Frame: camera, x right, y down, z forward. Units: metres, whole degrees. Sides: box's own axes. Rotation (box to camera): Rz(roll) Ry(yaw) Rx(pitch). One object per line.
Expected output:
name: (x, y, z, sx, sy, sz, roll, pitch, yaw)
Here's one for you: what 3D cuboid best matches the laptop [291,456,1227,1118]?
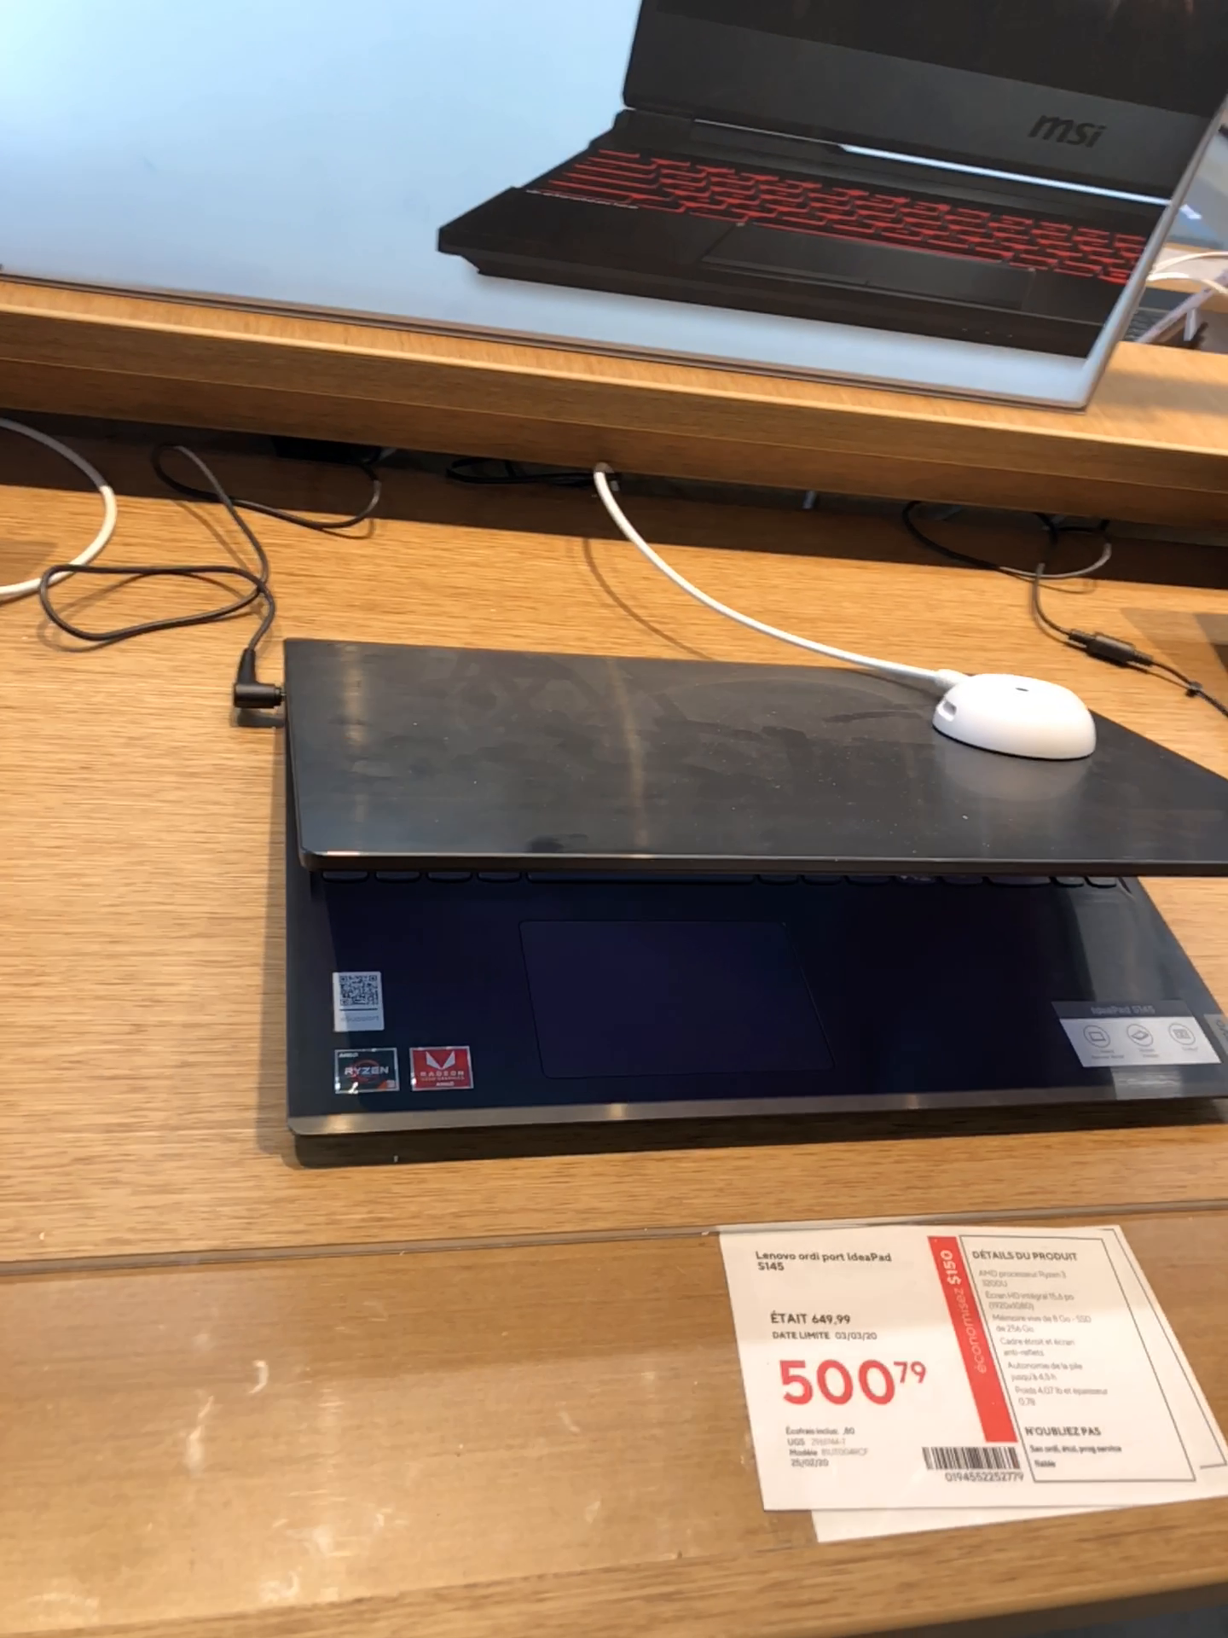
laptop: (0.052, -0.020, 0.497, 0.331, 0.083, 0.224, 2, 44, -18)
